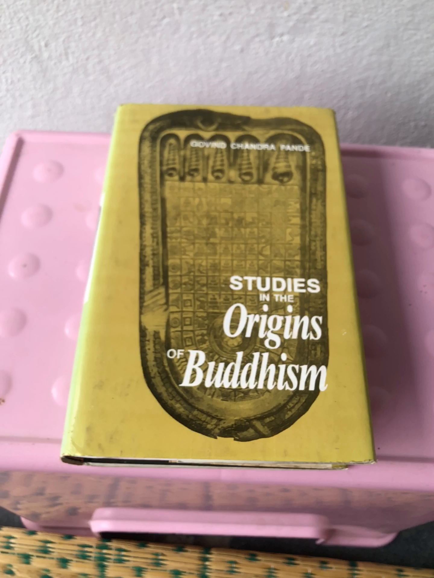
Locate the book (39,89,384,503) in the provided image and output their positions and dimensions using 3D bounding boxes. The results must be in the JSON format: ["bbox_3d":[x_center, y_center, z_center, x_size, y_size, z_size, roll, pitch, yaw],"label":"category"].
[{"bbox_3d":[0.001,-0.010,0.284,0.150,0.040,0.241,2,64,-1],"label":"book"}]
